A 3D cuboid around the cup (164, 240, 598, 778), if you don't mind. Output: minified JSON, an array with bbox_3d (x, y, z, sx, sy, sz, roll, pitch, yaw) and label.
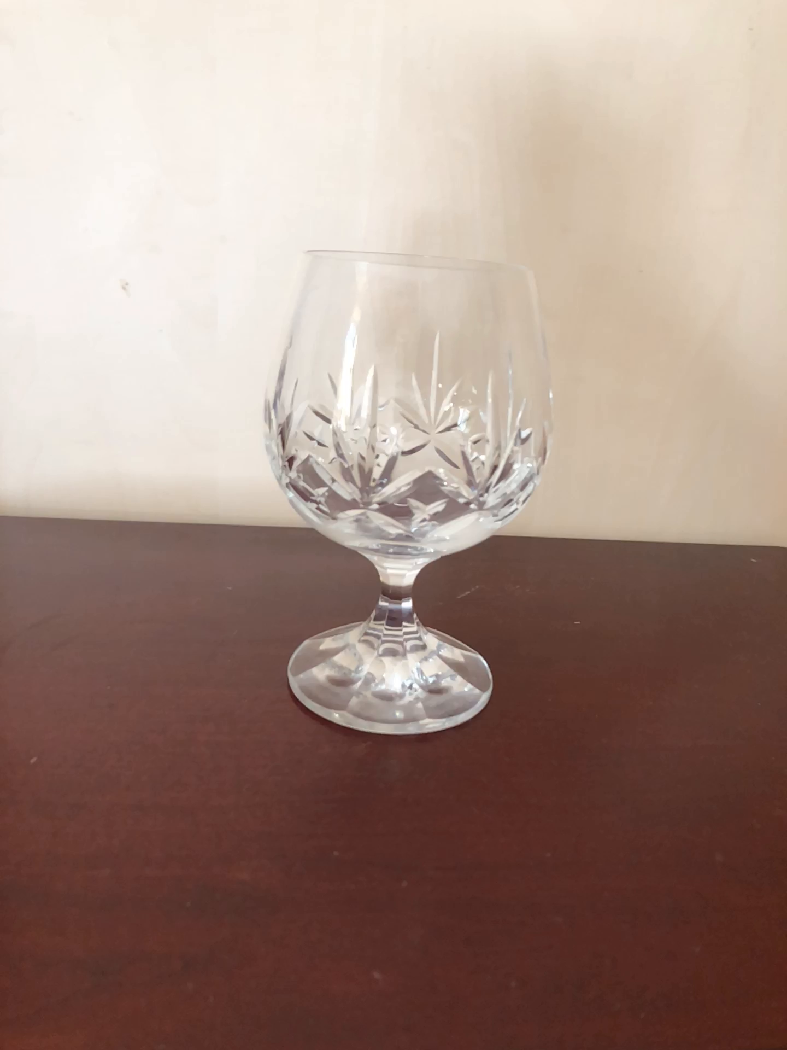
[{"bbox_3d":[-0.004,-0.015,0.261,0.087,0.126,0.089,4,17,-1],"label":"cup"}]
